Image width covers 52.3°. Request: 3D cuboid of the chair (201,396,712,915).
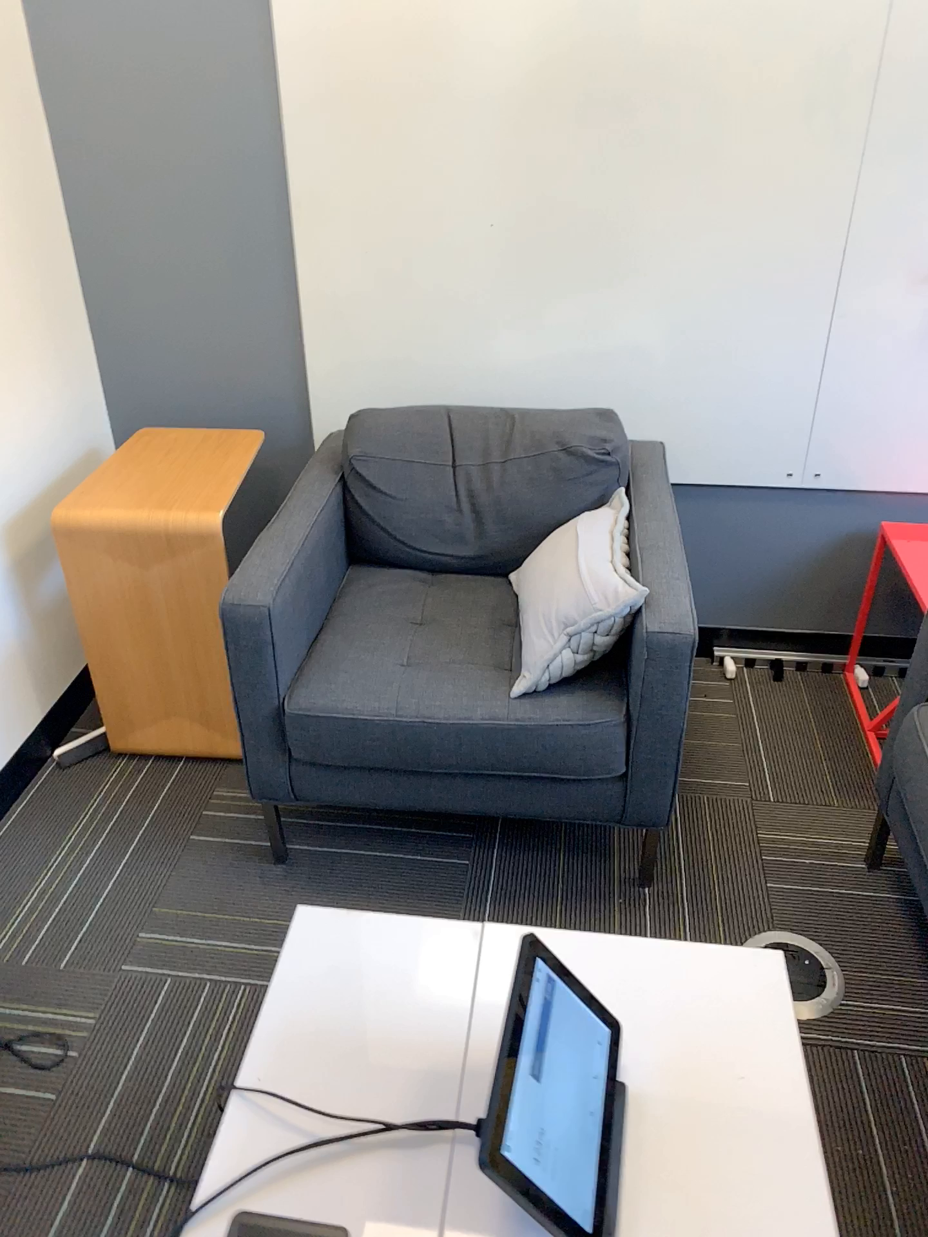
[{"bbox_3d":[0.026,0.016,2.130,0.840,0.716,0.946,3,32,5],"label":"chair"}]
